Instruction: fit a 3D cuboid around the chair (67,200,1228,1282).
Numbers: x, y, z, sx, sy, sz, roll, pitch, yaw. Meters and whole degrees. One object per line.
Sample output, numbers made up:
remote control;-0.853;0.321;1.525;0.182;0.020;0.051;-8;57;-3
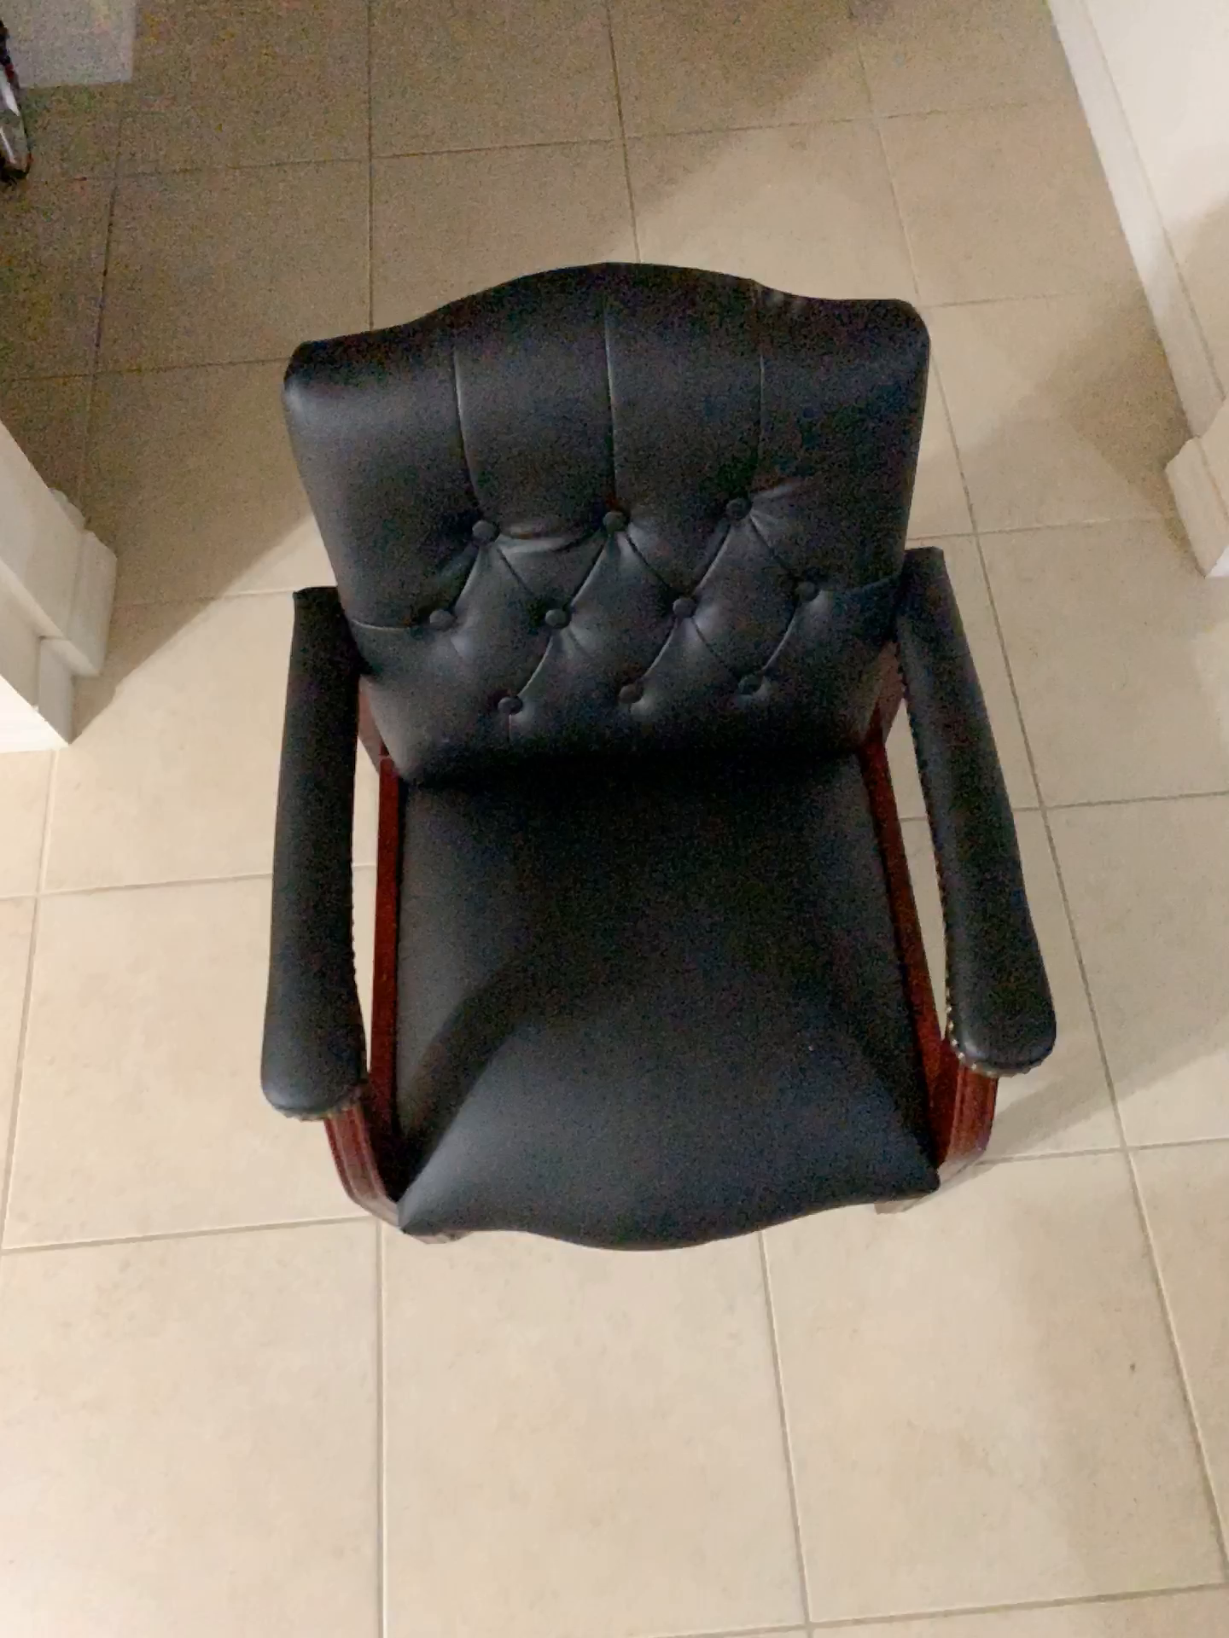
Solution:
chair;0.014;0.047;1.209;0.631;0.913;0.657;-5;66;0
